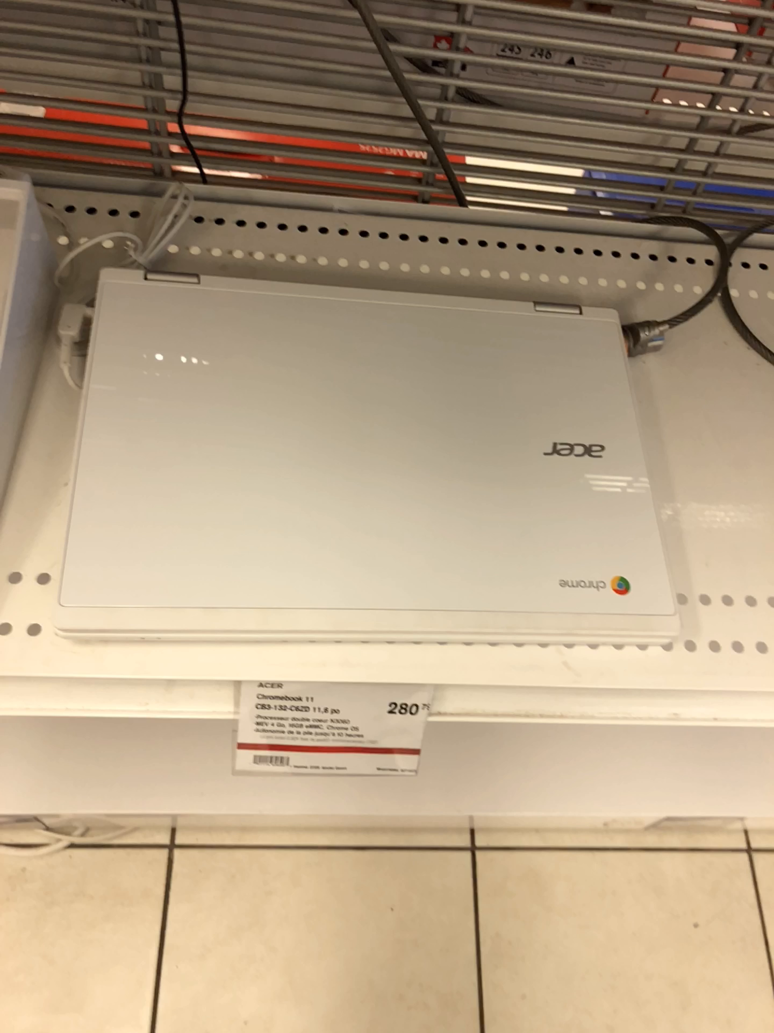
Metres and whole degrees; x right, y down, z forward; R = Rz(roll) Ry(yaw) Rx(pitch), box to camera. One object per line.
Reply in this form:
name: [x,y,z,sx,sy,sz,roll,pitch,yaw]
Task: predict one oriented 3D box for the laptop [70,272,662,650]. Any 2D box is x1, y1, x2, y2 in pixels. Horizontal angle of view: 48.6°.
laptop: [-0.008,-0.029,0.451,0.286,0.024,0.184,2,70,-8]
